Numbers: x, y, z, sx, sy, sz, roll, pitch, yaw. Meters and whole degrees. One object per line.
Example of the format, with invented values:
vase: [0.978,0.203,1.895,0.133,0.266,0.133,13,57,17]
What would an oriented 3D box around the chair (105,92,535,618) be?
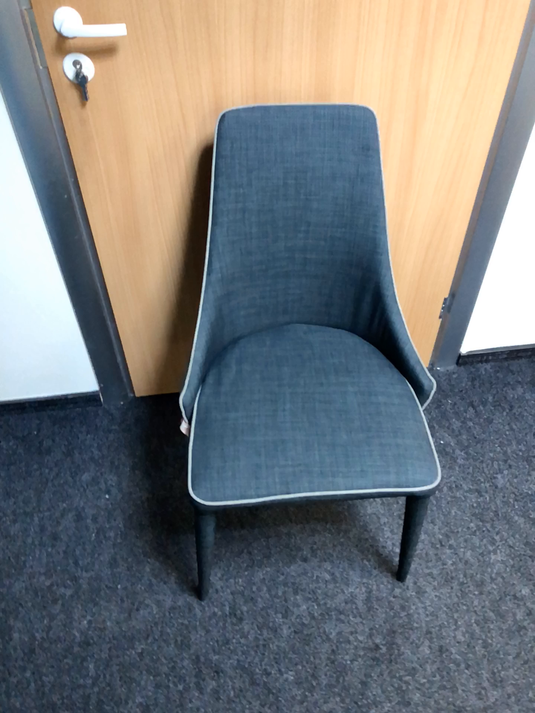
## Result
chair: [0.050,0.027,1.206,0.520,0.845,0.644,-4,46,-3]
